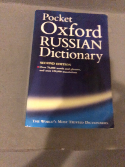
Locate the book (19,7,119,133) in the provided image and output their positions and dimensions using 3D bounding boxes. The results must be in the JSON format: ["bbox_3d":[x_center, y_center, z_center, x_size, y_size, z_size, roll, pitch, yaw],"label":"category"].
[{"bbox_3d":[0.013,-0.025,0.232,0.137,0.032,0.195,3,76,-3],"label":"book"}]
